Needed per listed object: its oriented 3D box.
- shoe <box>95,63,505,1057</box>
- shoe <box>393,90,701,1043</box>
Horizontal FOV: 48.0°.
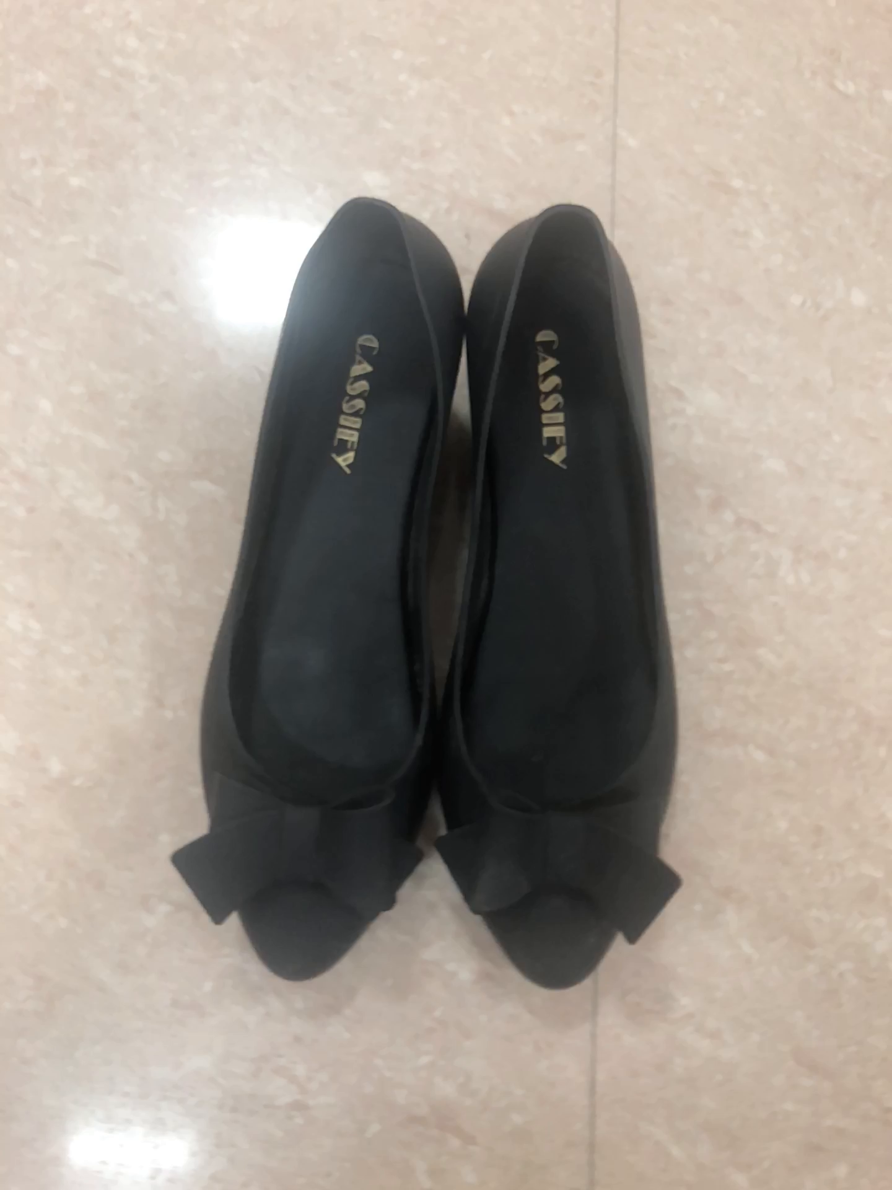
[{"bbox_3d":[-0.041,-0.017,0.357,0.090,0.090,0.310,6,80,0],"label":"shoe"},{"bbox_3d":[0.030,-0.014,0.365,0.090,0.090,0.310,1,80,-1],"label":"shoe"}]
